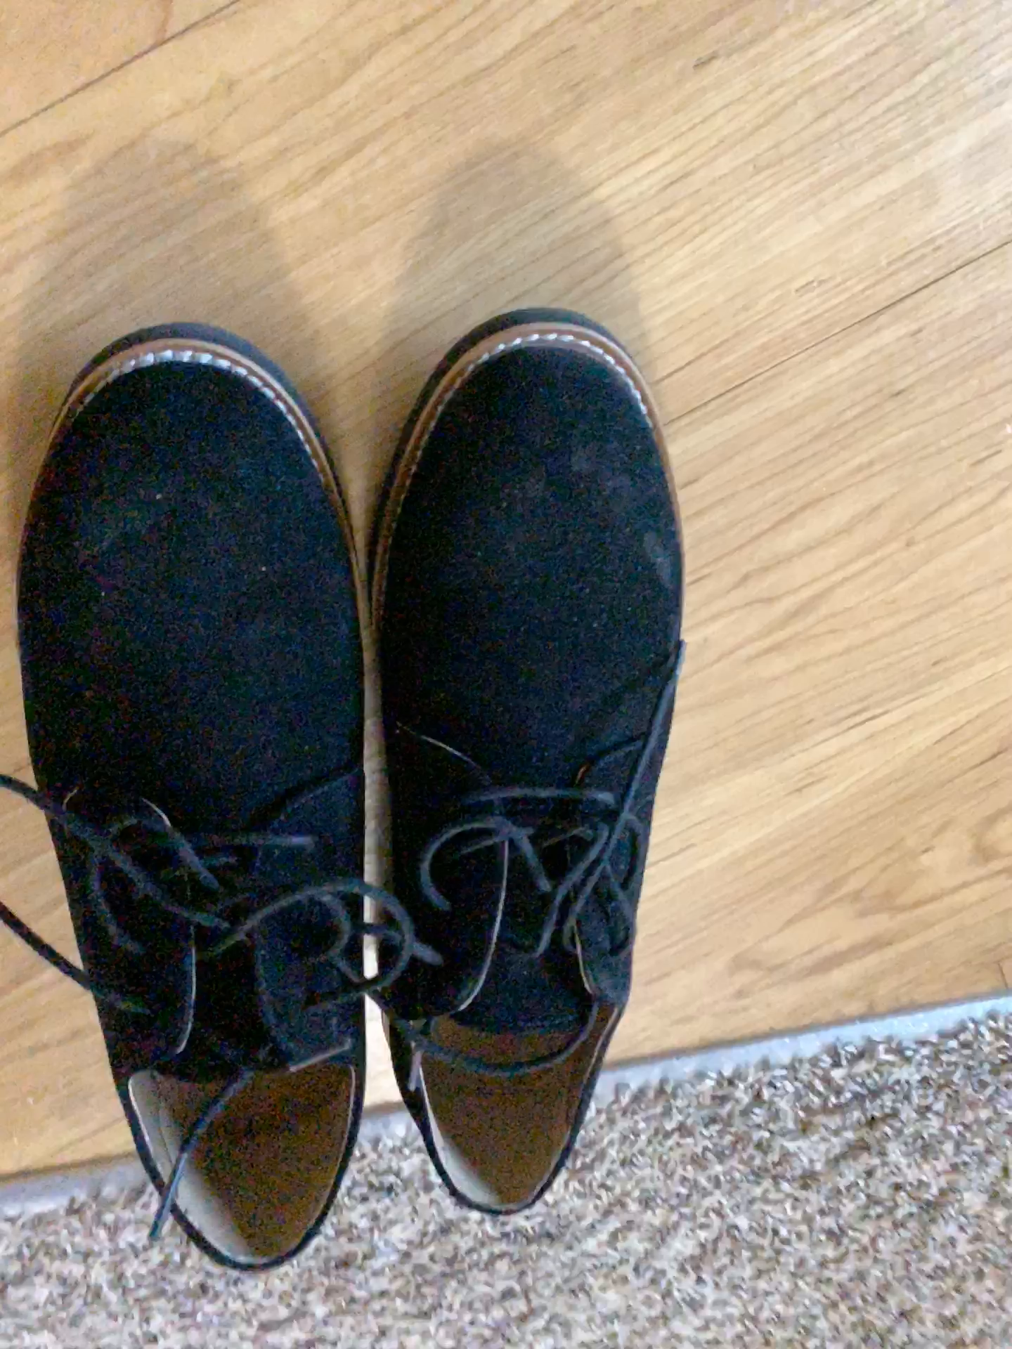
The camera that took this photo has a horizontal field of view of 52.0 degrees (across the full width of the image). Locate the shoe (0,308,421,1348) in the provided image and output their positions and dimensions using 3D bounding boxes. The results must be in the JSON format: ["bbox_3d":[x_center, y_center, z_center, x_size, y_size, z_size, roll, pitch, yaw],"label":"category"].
[{"bbox_3d":[-0.084,0.062,0.304,0.100,0.070,0.311,-5,117,-9],"label":"shoe"}]

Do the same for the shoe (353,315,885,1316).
[{"bbox_3d":[0.013,0.060,0.321,0.110,0.070,0.311,0,116,-11],"label":"shoe"}]
